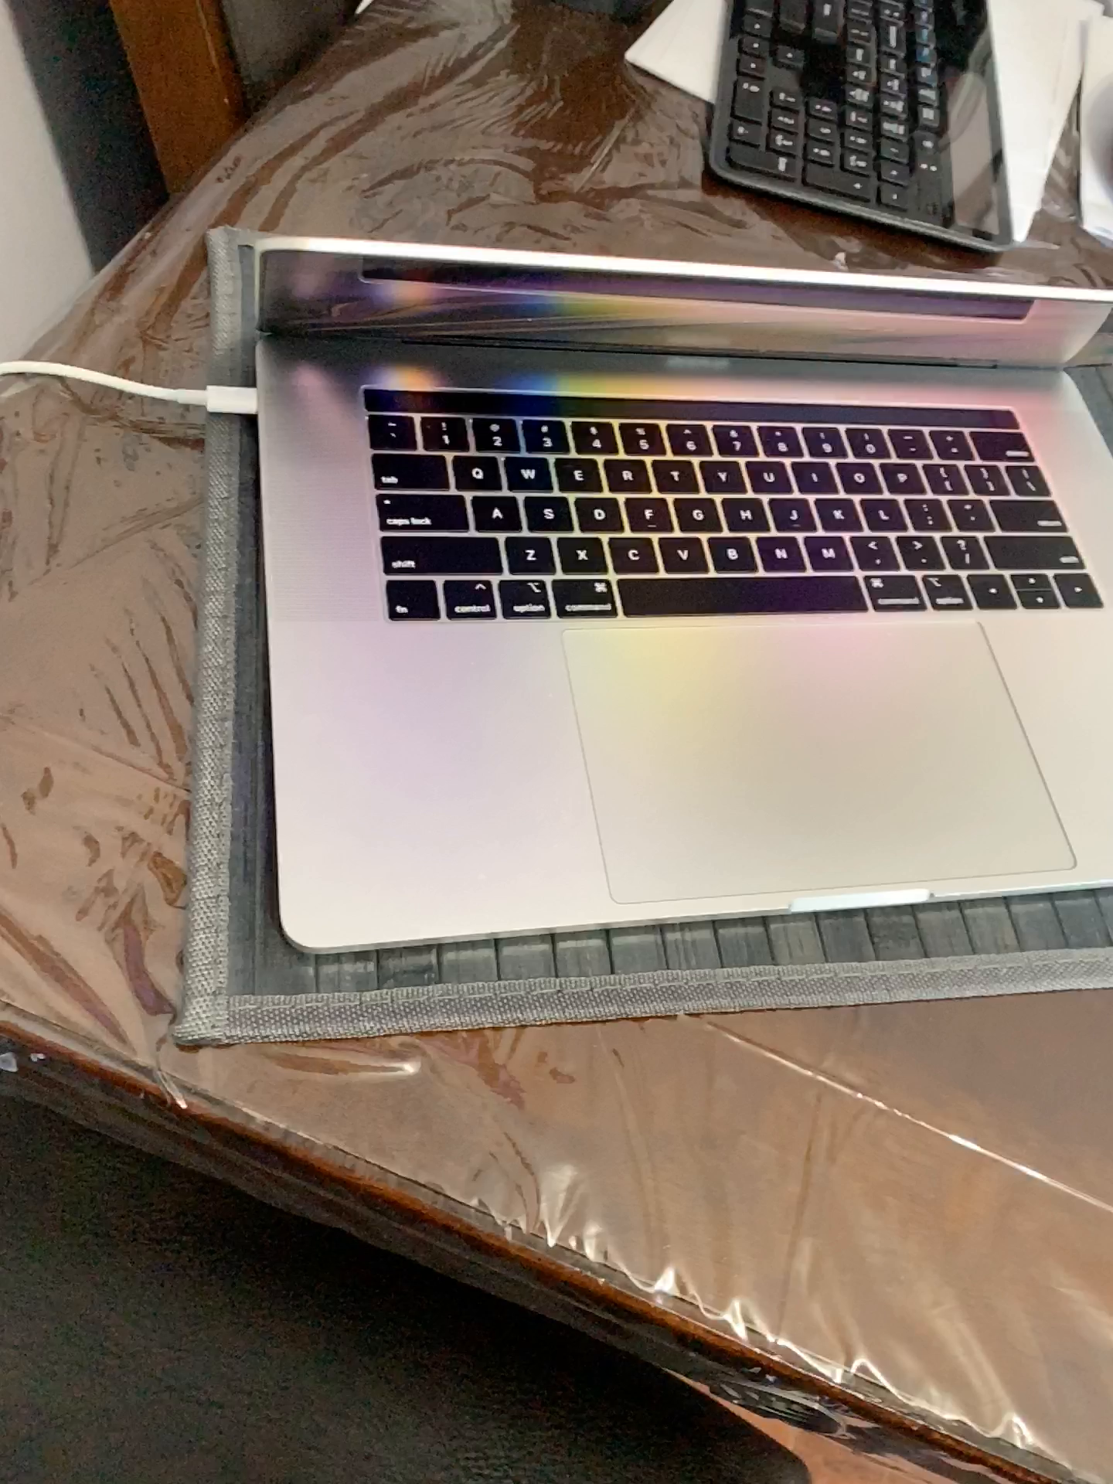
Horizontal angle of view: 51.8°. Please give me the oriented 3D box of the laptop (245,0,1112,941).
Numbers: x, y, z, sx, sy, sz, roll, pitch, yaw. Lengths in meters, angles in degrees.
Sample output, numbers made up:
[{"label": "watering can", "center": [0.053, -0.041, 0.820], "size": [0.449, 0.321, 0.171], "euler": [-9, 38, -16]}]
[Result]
[{"label": "laptop", "center": [0.090, -0.095, 0.338], "size": [0.339, 0.164, 0.234], "euler": [-2, 60, -14]}]
